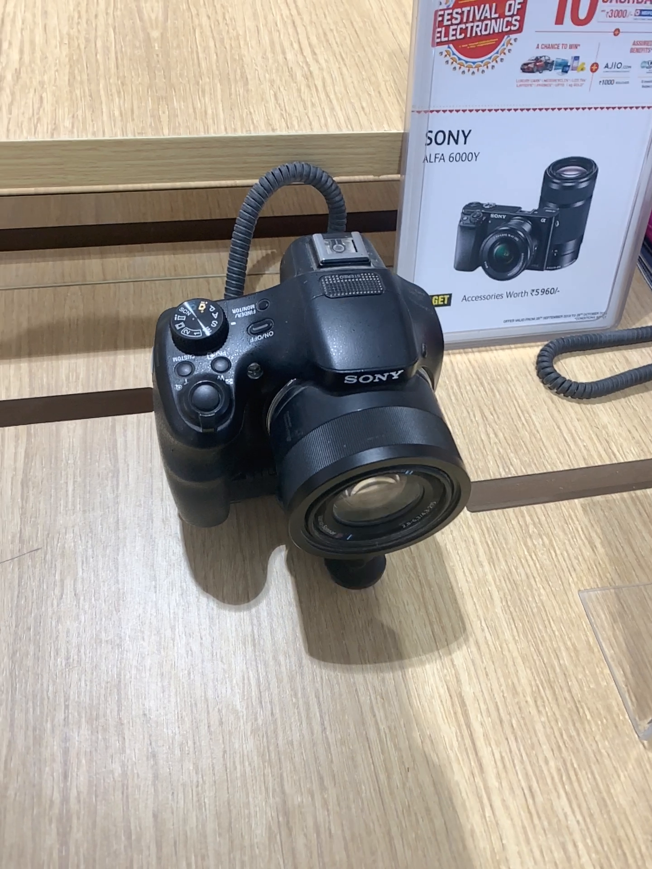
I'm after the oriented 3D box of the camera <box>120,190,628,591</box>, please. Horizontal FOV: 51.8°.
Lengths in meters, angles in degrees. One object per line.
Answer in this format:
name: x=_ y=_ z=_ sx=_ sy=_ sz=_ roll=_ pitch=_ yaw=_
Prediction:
camera: x=0.006 y=-0.016 z=0.247 sx=0.140 sy=0.100 sz=0.090 roll=-7 pitch=55 yaw=-12
